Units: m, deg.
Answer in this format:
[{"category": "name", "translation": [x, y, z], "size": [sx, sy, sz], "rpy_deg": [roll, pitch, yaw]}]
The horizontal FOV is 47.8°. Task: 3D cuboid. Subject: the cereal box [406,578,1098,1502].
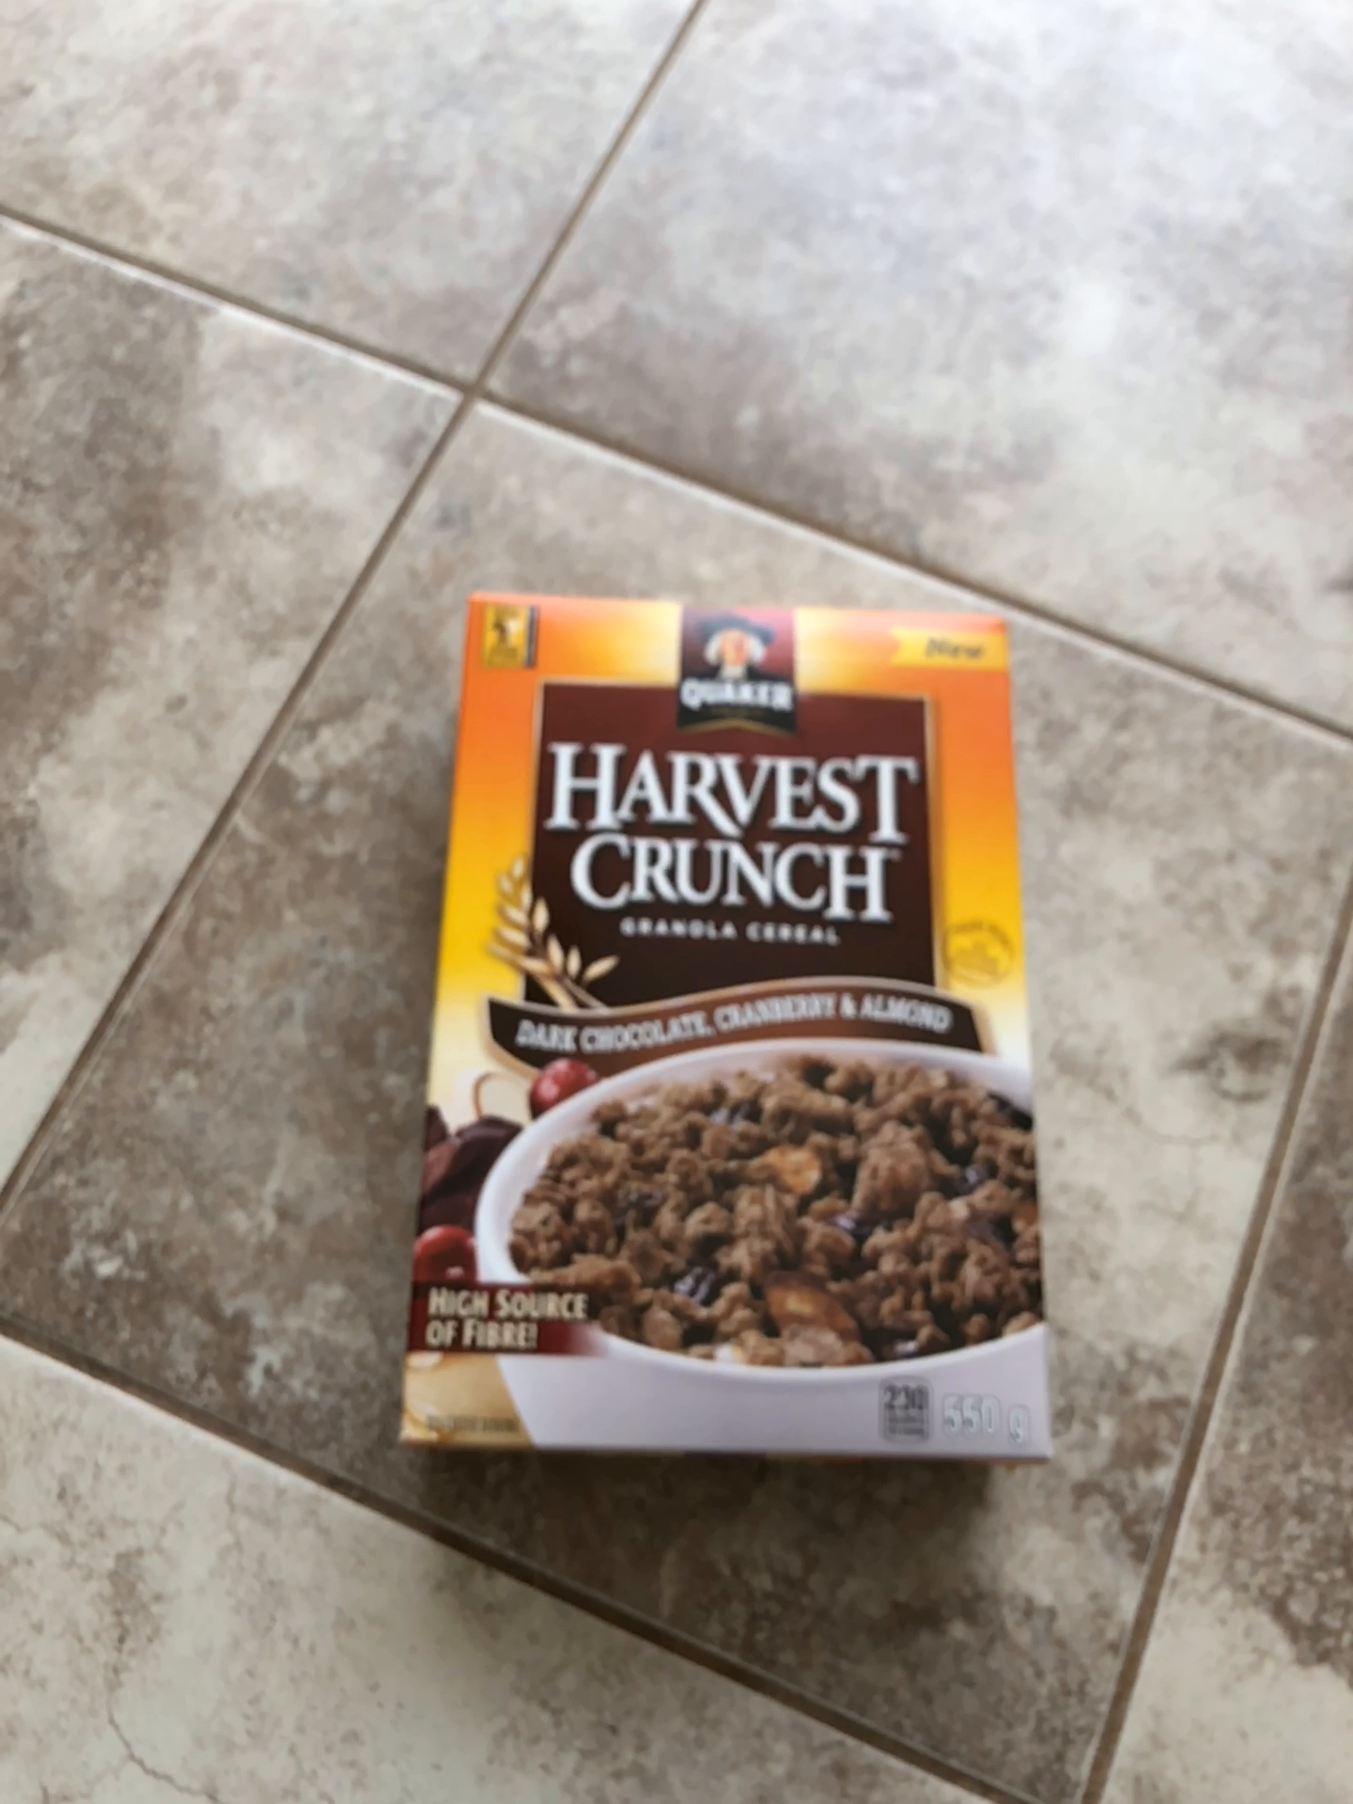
[{"category": "cereal box", "translation": [0.023, 0.037, 0.449], "size": [0.170, 0.070, 0.250], "rpy_deg": [3, 70, -1]}]
